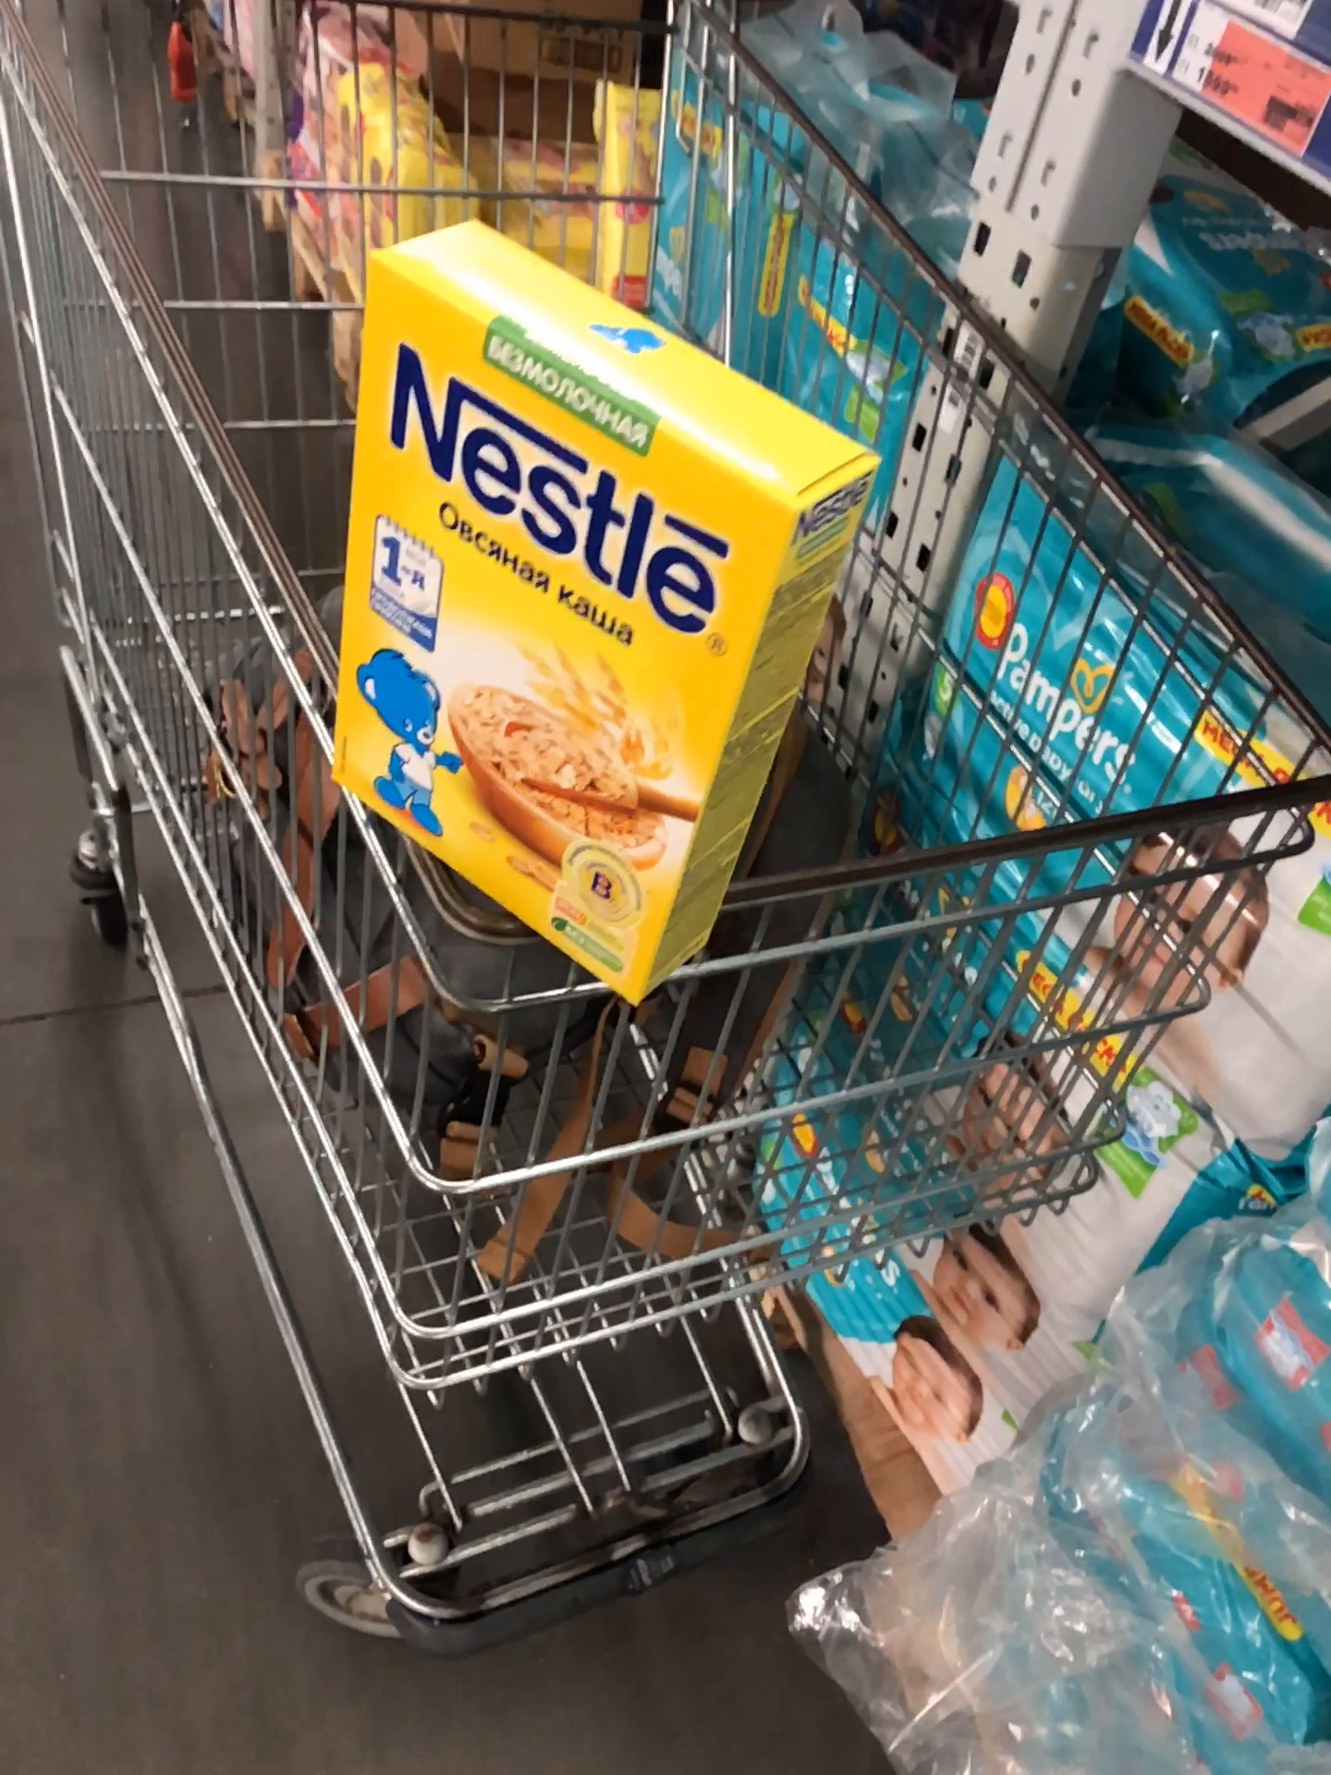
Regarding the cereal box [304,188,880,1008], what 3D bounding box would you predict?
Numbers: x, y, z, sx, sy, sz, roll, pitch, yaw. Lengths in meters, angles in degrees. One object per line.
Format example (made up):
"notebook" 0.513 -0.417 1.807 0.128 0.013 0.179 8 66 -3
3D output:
"cereal box" -0.038 -0.079 0.447 0.150 0.199 0.040 35 47 17
